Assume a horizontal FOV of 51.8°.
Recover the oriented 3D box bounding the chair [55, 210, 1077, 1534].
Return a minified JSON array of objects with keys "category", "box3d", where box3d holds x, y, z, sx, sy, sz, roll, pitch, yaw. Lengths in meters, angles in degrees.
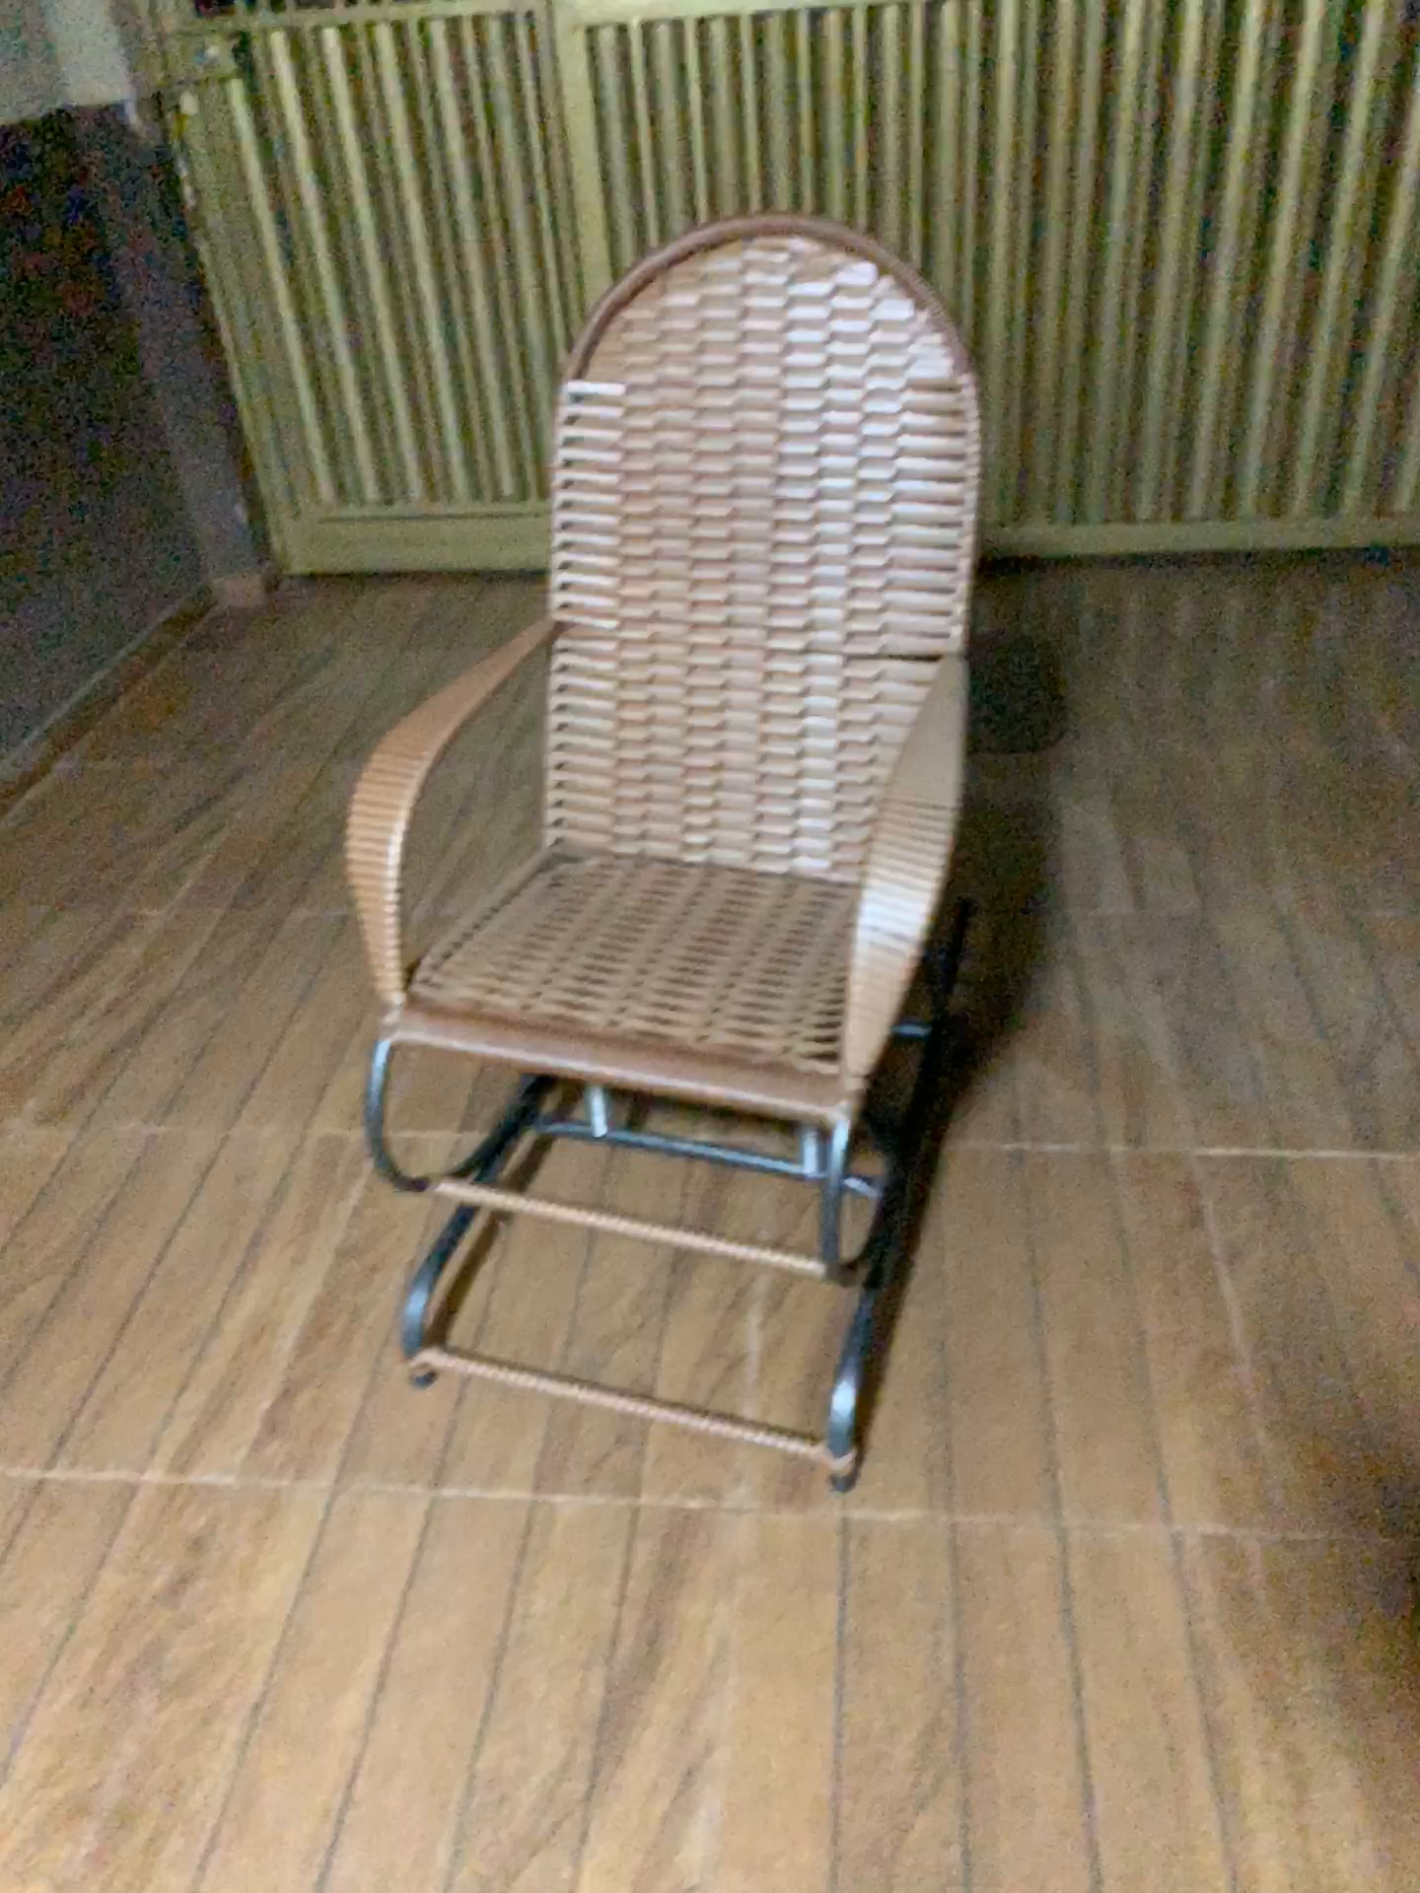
[{"category":"chair","box3d":[-0.014,-0.116,1.529,0.598,1.050,0.787,8,37,18]}]
